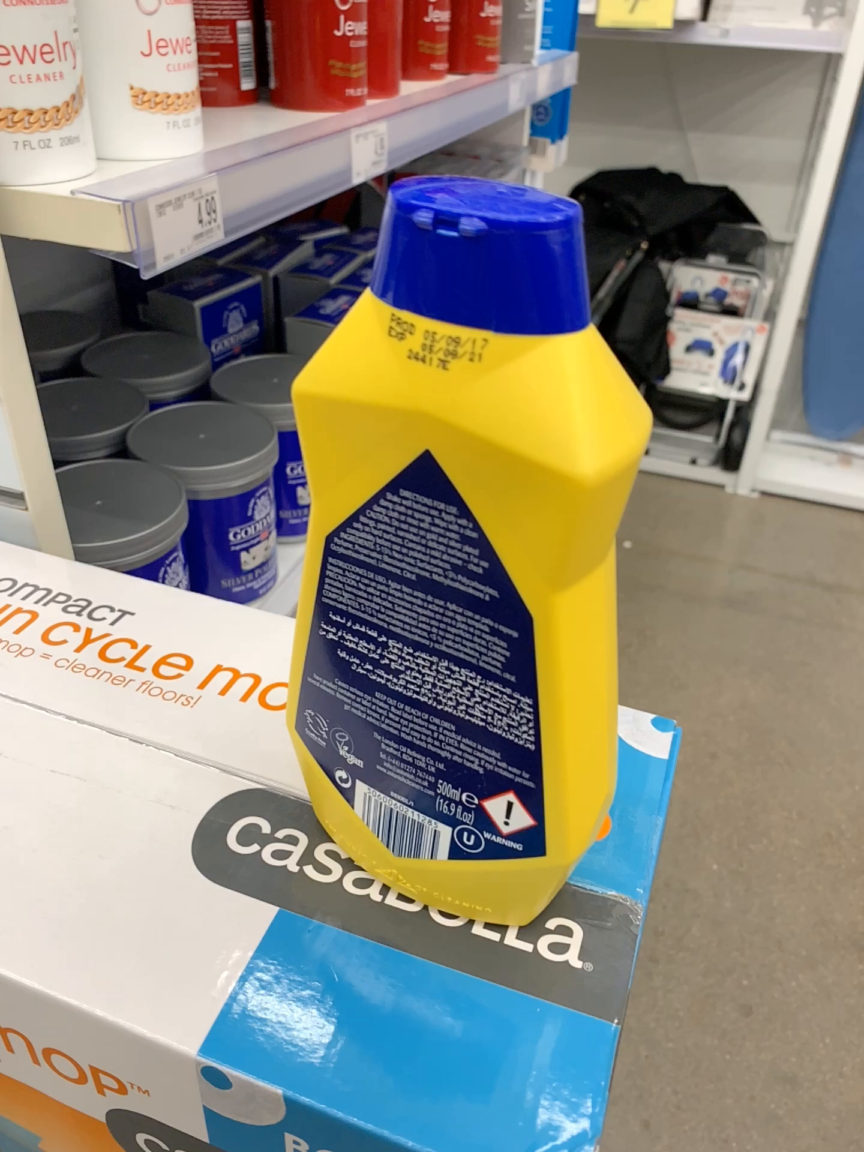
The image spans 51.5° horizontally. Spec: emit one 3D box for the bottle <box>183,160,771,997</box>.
[{"bbox_3d":[0.007,0.006,0.230,0.100,0.189,0.060,19,38,23],"label":"bottle"}]
